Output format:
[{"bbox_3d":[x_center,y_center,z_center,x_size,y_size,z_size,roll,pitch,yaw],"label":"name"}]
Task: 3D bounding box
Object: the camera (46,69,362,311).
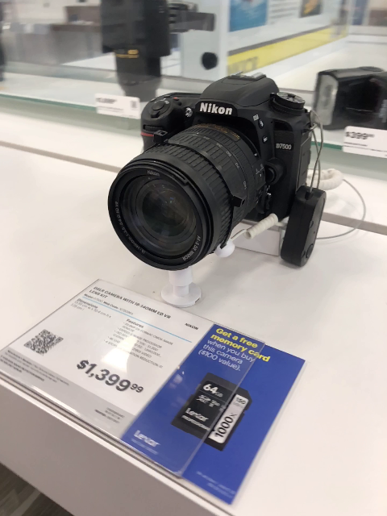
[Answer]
[{"bbox_3d":[0.020,-0.070,0.323,0.160,0.100,0.171,14,35,23],"label":"camera"}]
